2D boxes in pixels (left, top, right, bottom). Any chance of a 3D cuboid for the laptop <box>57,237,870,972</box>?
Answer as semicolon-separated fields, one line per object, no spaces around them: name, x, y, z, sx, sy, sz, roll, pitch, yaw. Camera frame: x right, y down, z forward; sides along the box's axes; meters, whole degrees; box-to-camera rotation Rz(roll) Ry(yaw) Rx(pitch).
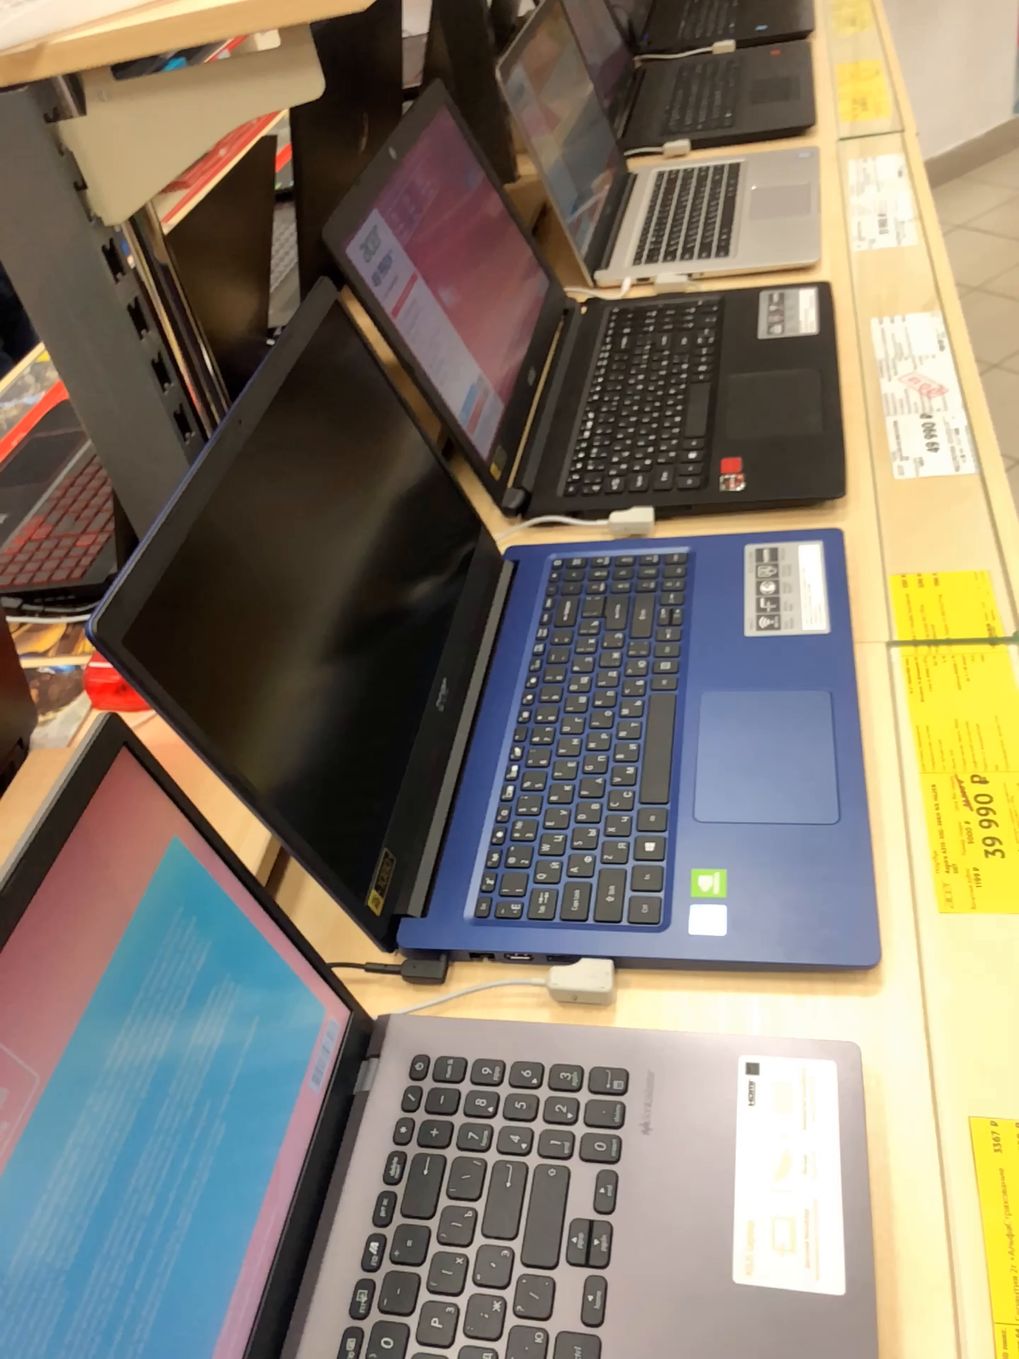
laptop;0.017;-0.061;0.640;0.327;0.221;0.359;-1;41;12
